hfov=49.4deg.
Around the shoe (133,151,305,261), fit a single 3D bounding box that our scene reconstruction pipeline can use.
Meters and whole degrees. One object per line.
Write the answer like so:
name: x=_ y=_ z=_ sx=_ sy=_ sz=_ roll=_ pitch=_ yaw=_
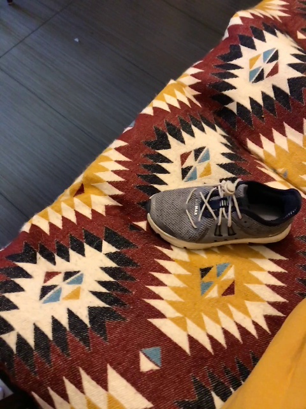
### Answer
shoe: x=0.088 y=0.004 z=0.415 sx=0.211 sy=0.074 sz=0.094 roll=6 pitch=68 yaw=2
